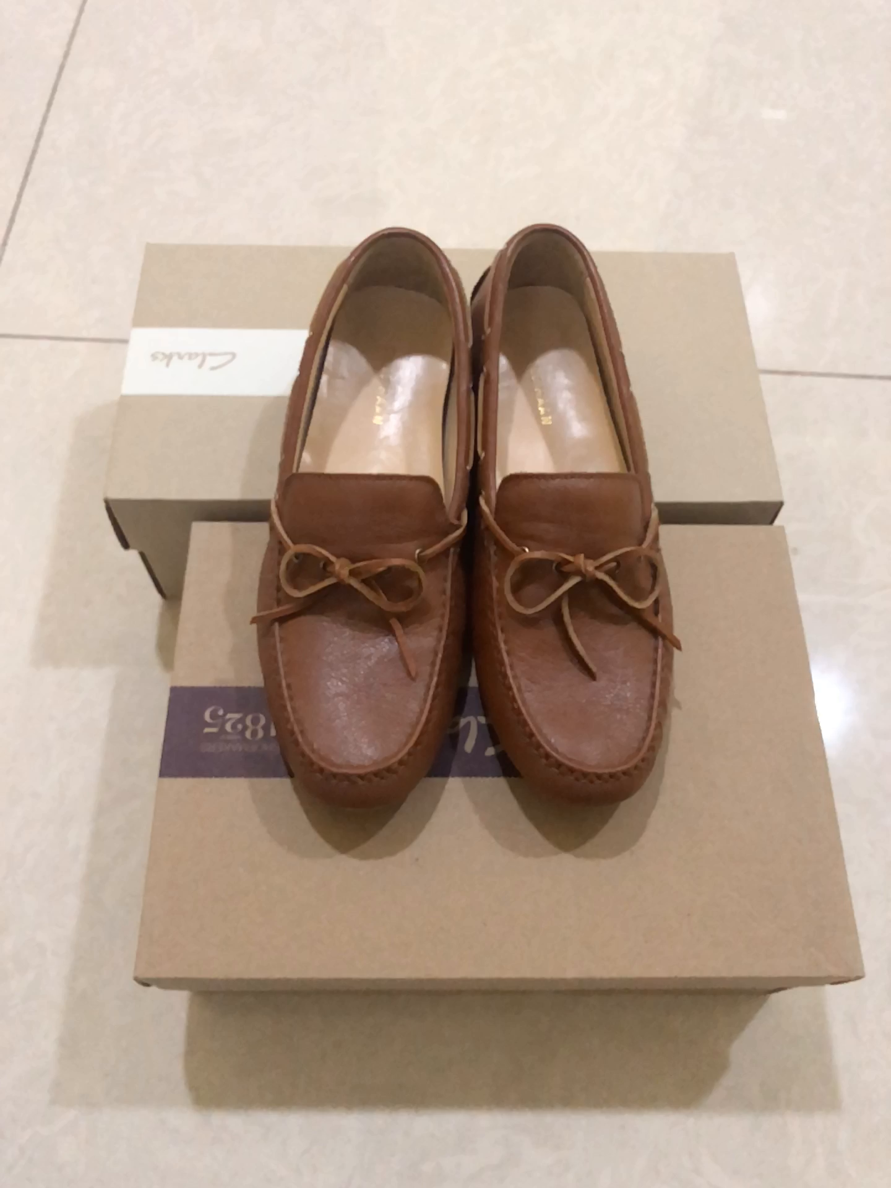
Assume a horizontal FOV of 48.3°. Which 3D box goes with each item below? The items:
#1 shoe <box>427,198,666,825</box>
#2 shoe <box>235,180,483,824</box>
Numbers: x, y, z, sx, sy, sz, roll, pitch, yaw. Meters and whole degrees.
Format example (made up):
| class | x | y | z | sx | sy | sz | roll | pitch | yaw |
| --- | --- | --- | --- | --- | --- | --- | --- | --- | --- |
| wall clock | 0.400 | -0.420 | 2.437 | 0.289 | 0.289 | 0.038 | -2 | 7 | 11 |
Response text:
| class | x | y | z | sx | sy | sz | roll | pitch | yaw |
| --- | --- | --- | --- | --- | --- | --- | --- | --- | --- |
| shoe | 0.037 | -0.042 | 0.459 | 0.080 | 0.080 | 0.280 | -1 | 70 | -3 |
| shoe | -0.031 | -0.046 | 0.451 | 0.080 | 0.080 | 0.280 | 3 | 69 | -1 |
